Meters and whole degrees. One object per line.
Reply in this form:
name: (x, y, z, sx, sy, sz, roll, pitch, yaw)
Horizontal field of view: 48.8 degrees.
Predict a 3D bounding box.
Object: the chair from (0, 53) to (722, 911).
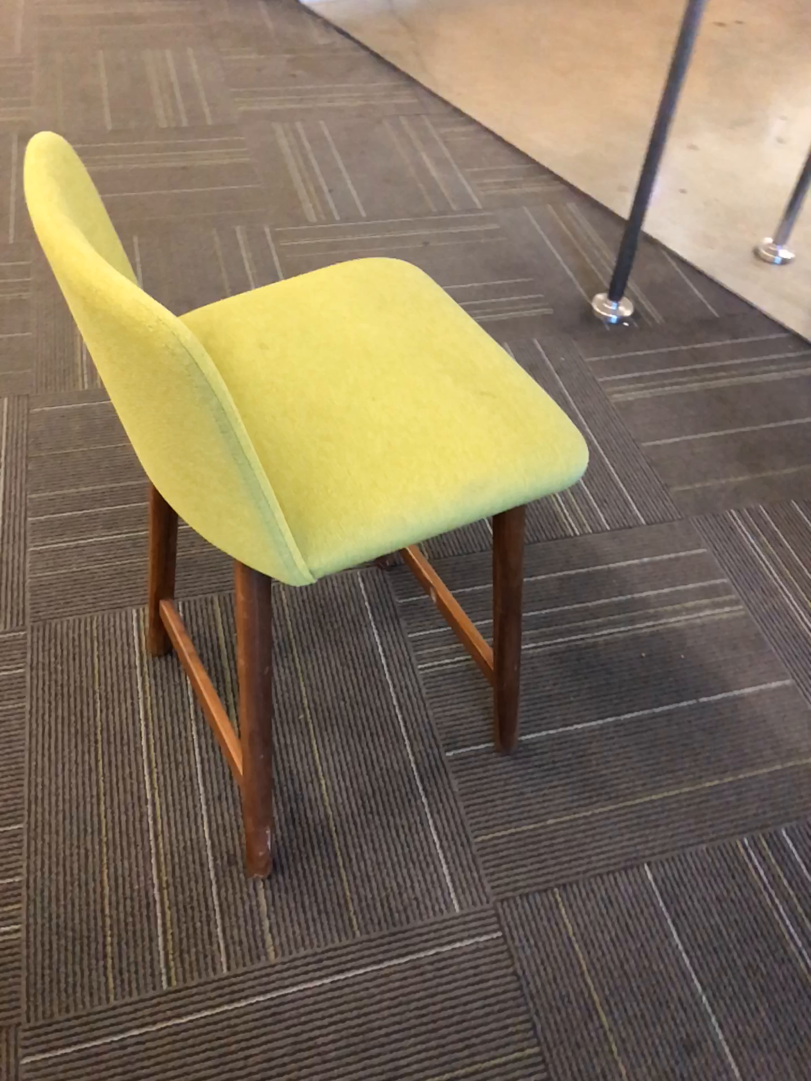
chair: (-0.091, -0.028, 1.121, 0.510, 0.876, 0.462, -20, 52, -22)
